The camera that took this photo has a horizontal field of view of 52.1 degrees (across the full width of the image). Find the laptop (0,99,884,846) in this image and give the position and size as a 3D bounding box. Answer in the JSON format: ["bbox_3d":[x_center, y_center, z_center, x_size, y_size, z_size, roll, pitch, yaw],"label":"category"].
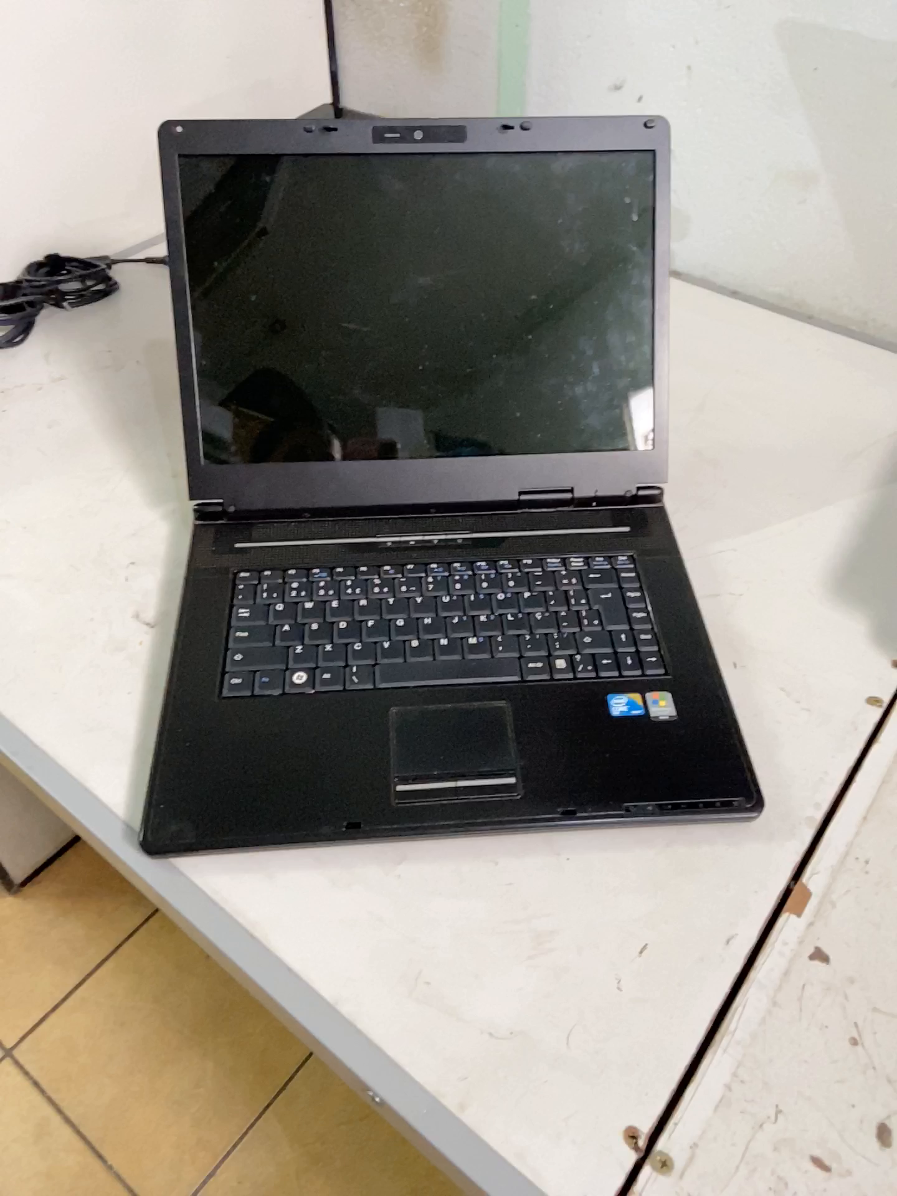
[{"bbox_3d":[-0.014,-0.108,0.584,0.351,0.224,0.432,-3,48,-3],"label":"laptop"}]
